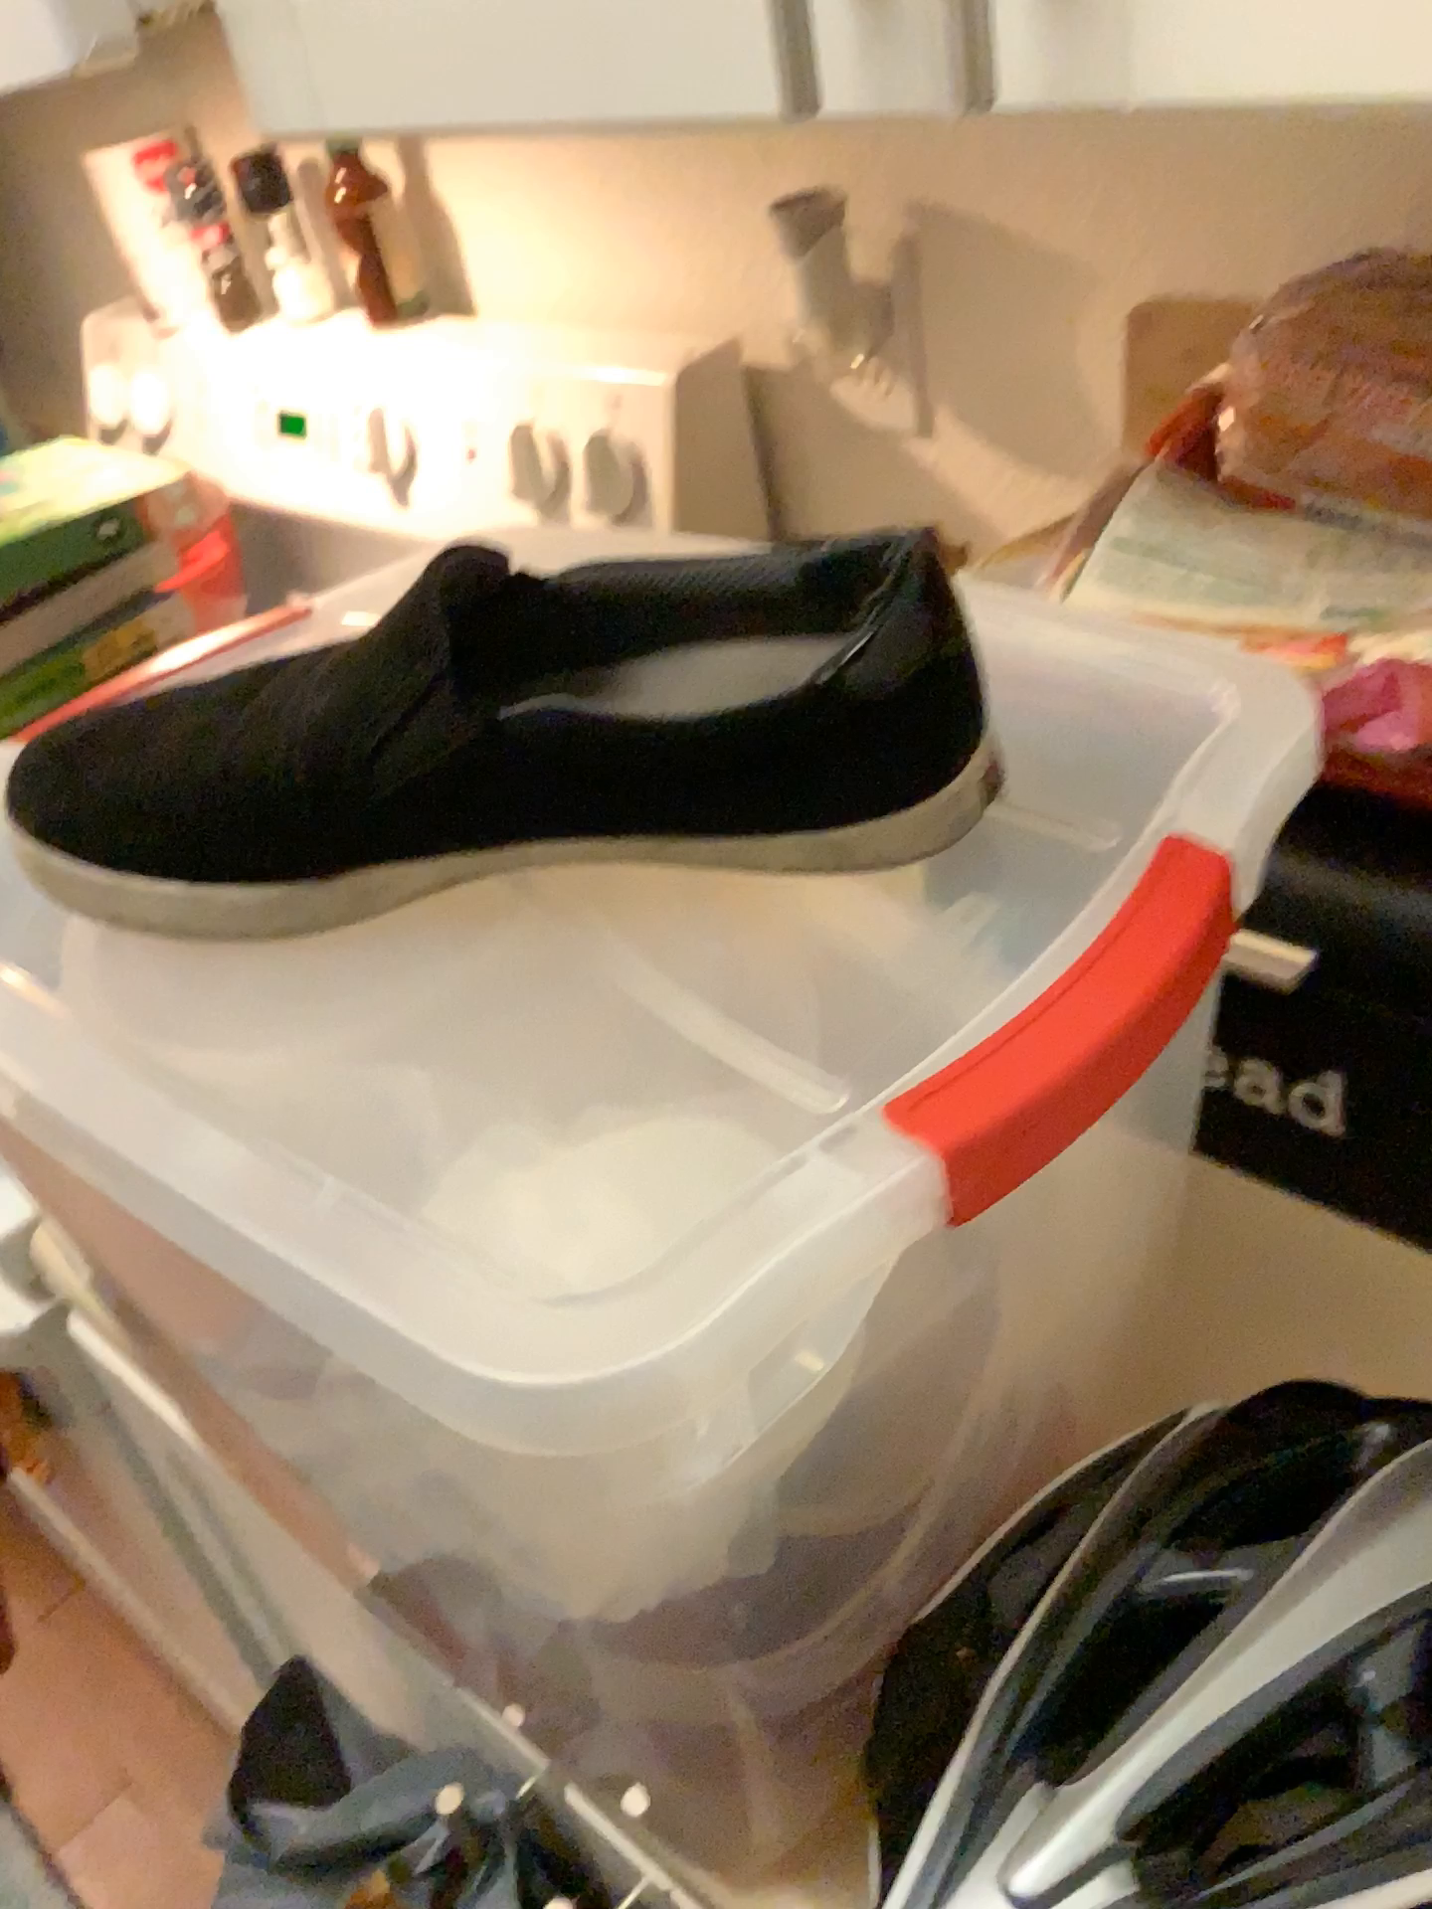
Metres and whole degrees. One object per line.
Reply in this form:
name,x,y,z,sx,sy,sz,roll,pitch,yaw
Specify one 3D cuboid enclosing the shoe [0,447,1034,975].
shoe,-0.059,-0.064,0.423,0.270,0.070,0.100,-5,36,10
